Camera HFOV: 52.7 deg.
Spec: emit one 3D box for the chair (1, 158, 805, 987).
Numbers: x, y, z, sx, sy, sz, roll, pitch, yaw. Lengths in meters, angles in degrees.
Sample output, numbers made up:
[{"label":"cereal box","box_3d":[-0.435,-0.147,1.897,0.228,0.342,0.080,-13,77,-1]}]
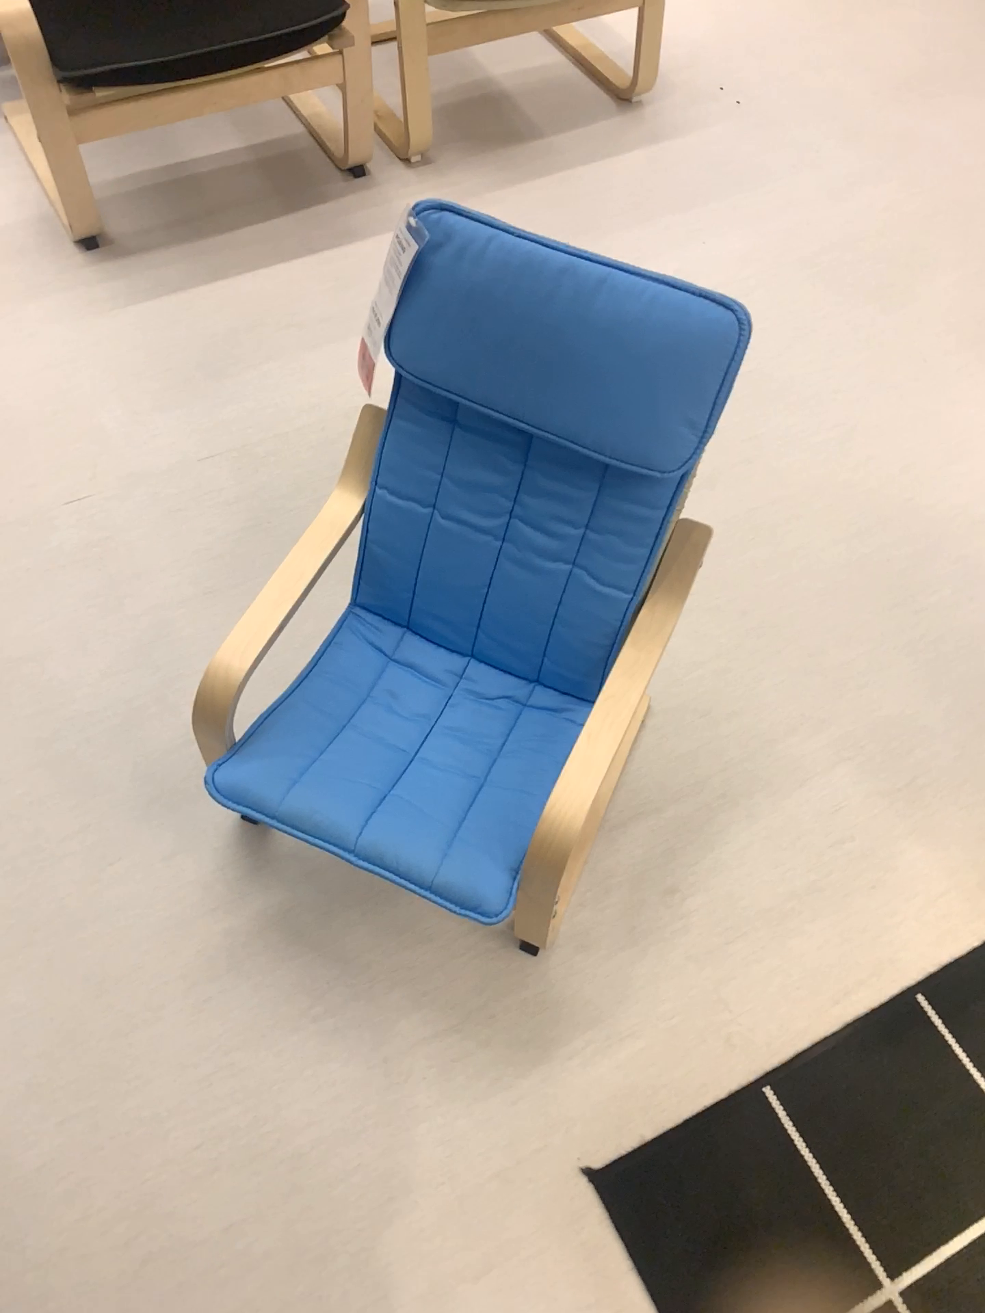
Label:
[{"label":"chair","box_3d":[-0.059,-0.060,1.116,0.510,0.639,0.501,22,58,12]}]
